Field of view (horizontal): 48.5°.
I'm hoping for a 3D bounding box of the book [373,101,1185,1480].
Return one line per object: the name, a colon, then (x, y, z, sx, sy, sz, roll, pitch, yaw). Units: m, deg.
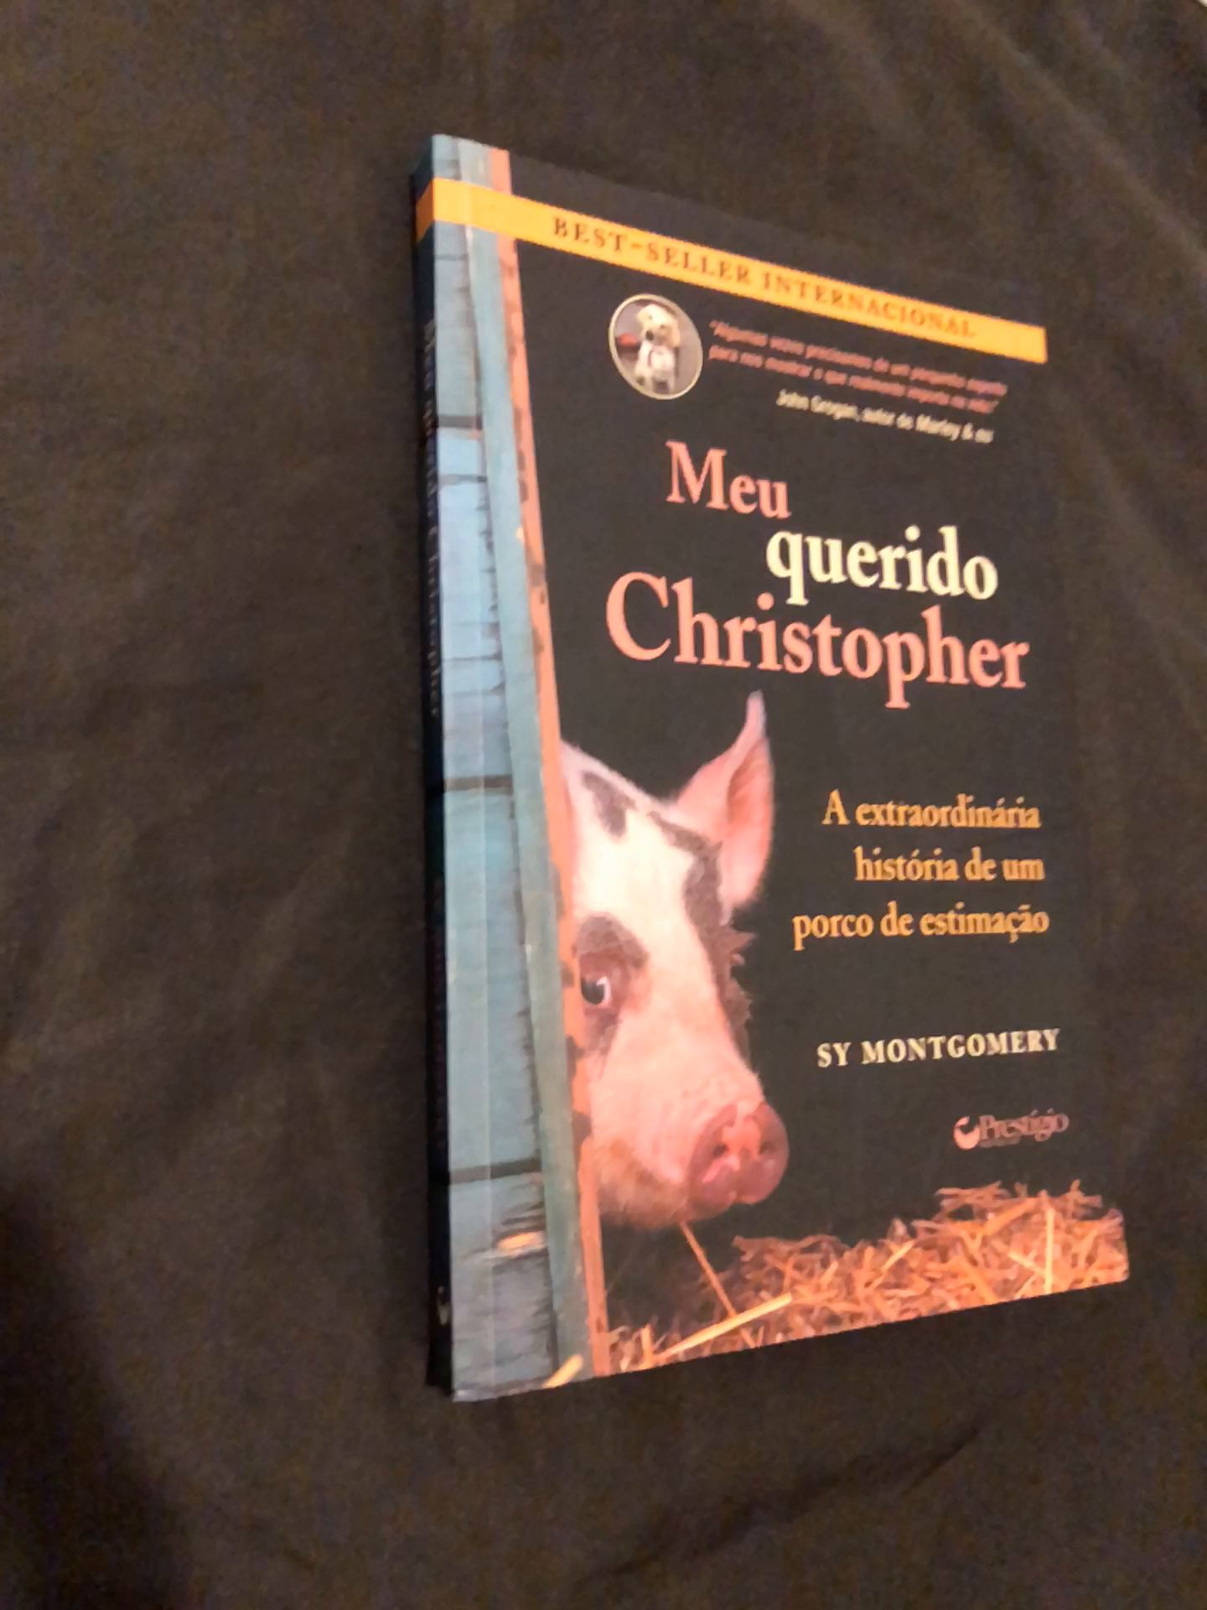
book: (0.042, -0.006, 0.264, 0.171, 0.020, 0.220, 0, 85, -30)
